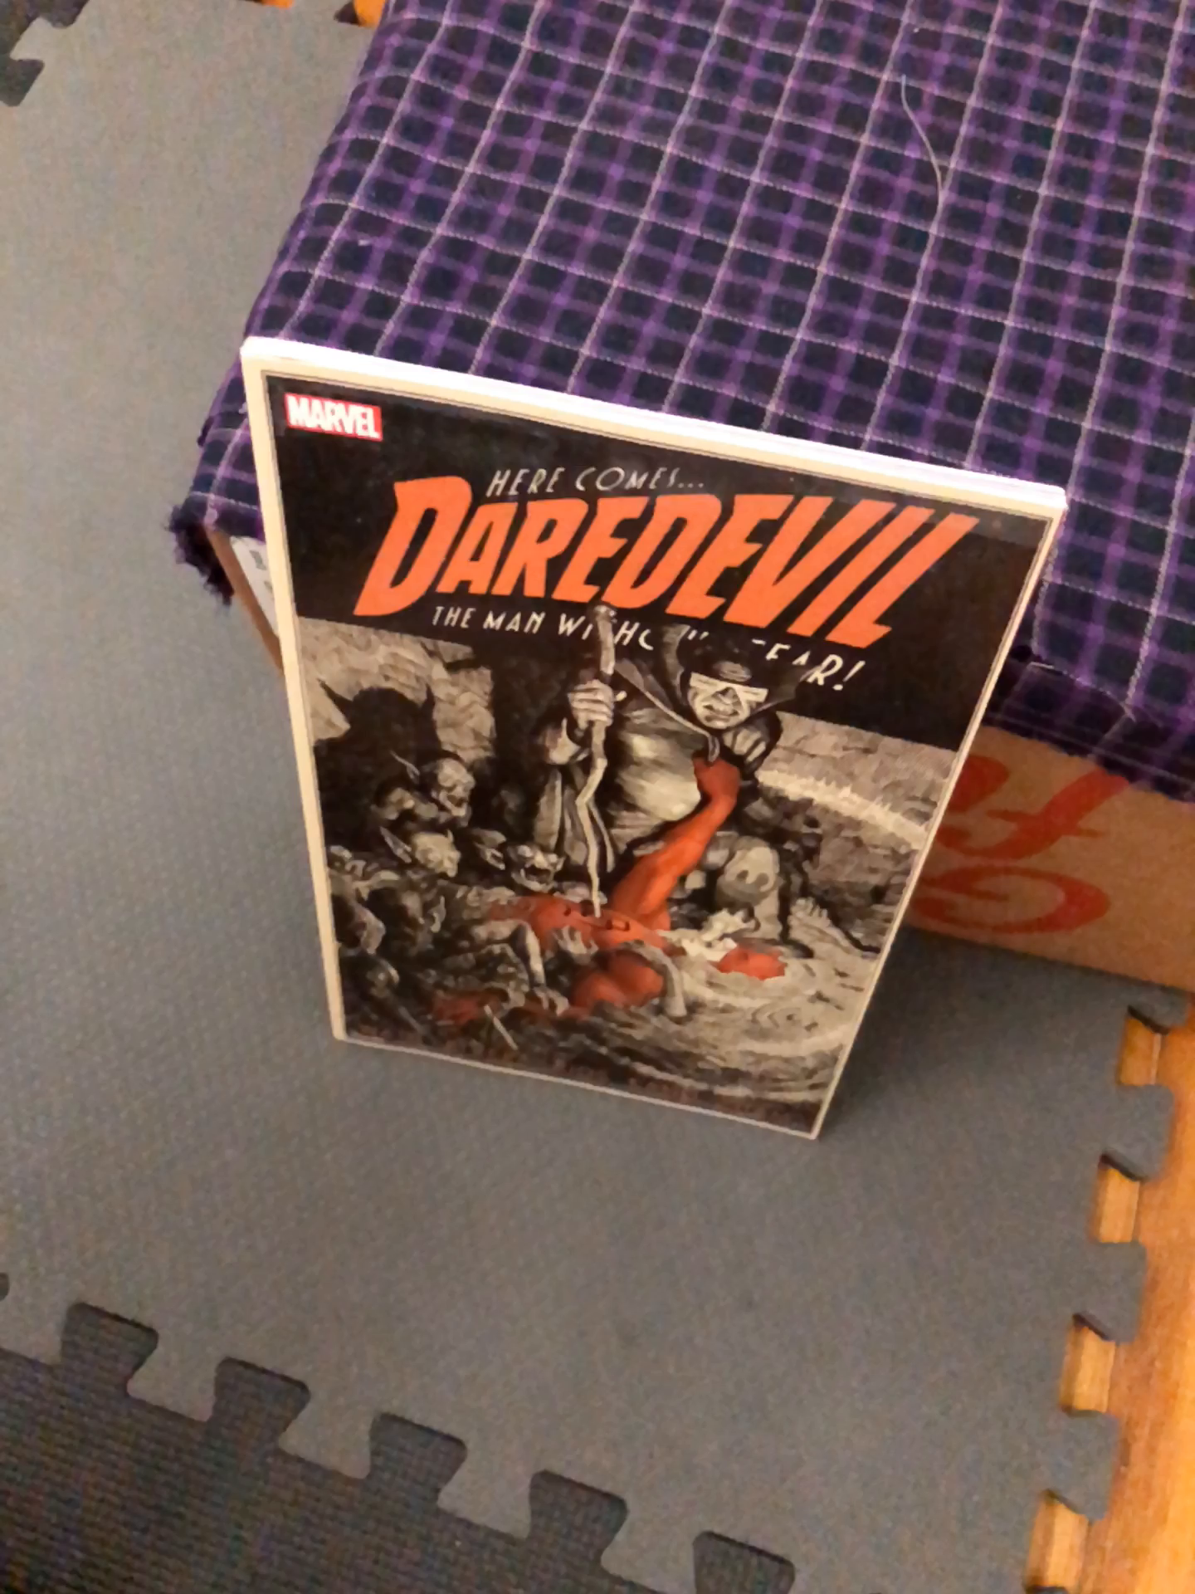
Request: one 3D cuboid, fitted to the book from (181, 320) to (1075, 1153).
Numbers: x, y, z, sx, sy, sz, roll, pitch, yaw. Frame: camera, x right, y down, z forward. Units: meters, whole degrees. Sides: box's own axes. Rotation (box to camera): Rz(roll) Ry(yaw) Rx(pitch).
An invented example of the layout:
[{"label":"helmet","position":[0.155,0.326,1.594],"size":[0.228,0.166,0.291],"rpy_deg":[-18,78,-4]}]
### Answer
[{"label":"book","position":[-0.003,0.008,0.324],"size":[0.160,0.229,0.020],"rpy_deg":[11,48,4]}]
